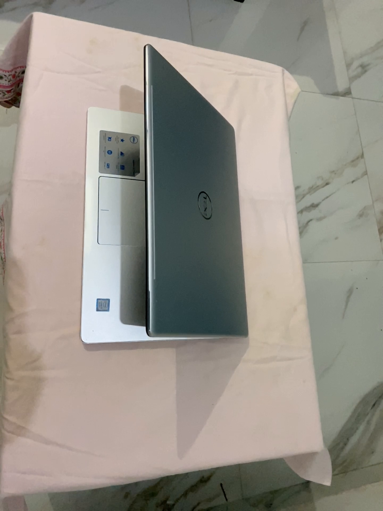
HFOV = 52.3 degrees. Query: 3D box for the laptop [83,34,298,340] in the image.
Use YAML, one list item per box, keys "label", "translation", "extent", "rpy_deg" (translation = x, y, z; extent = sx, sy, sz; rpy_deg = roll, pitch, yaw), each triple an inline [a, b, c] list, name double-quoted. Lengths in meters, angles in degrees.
- label: "laptop"
  translation: [-0.018, -0.068, 0.526]
  extent: [0.234, 0.149, 0.347]
  rpy_deg: [2, 77, -19]
